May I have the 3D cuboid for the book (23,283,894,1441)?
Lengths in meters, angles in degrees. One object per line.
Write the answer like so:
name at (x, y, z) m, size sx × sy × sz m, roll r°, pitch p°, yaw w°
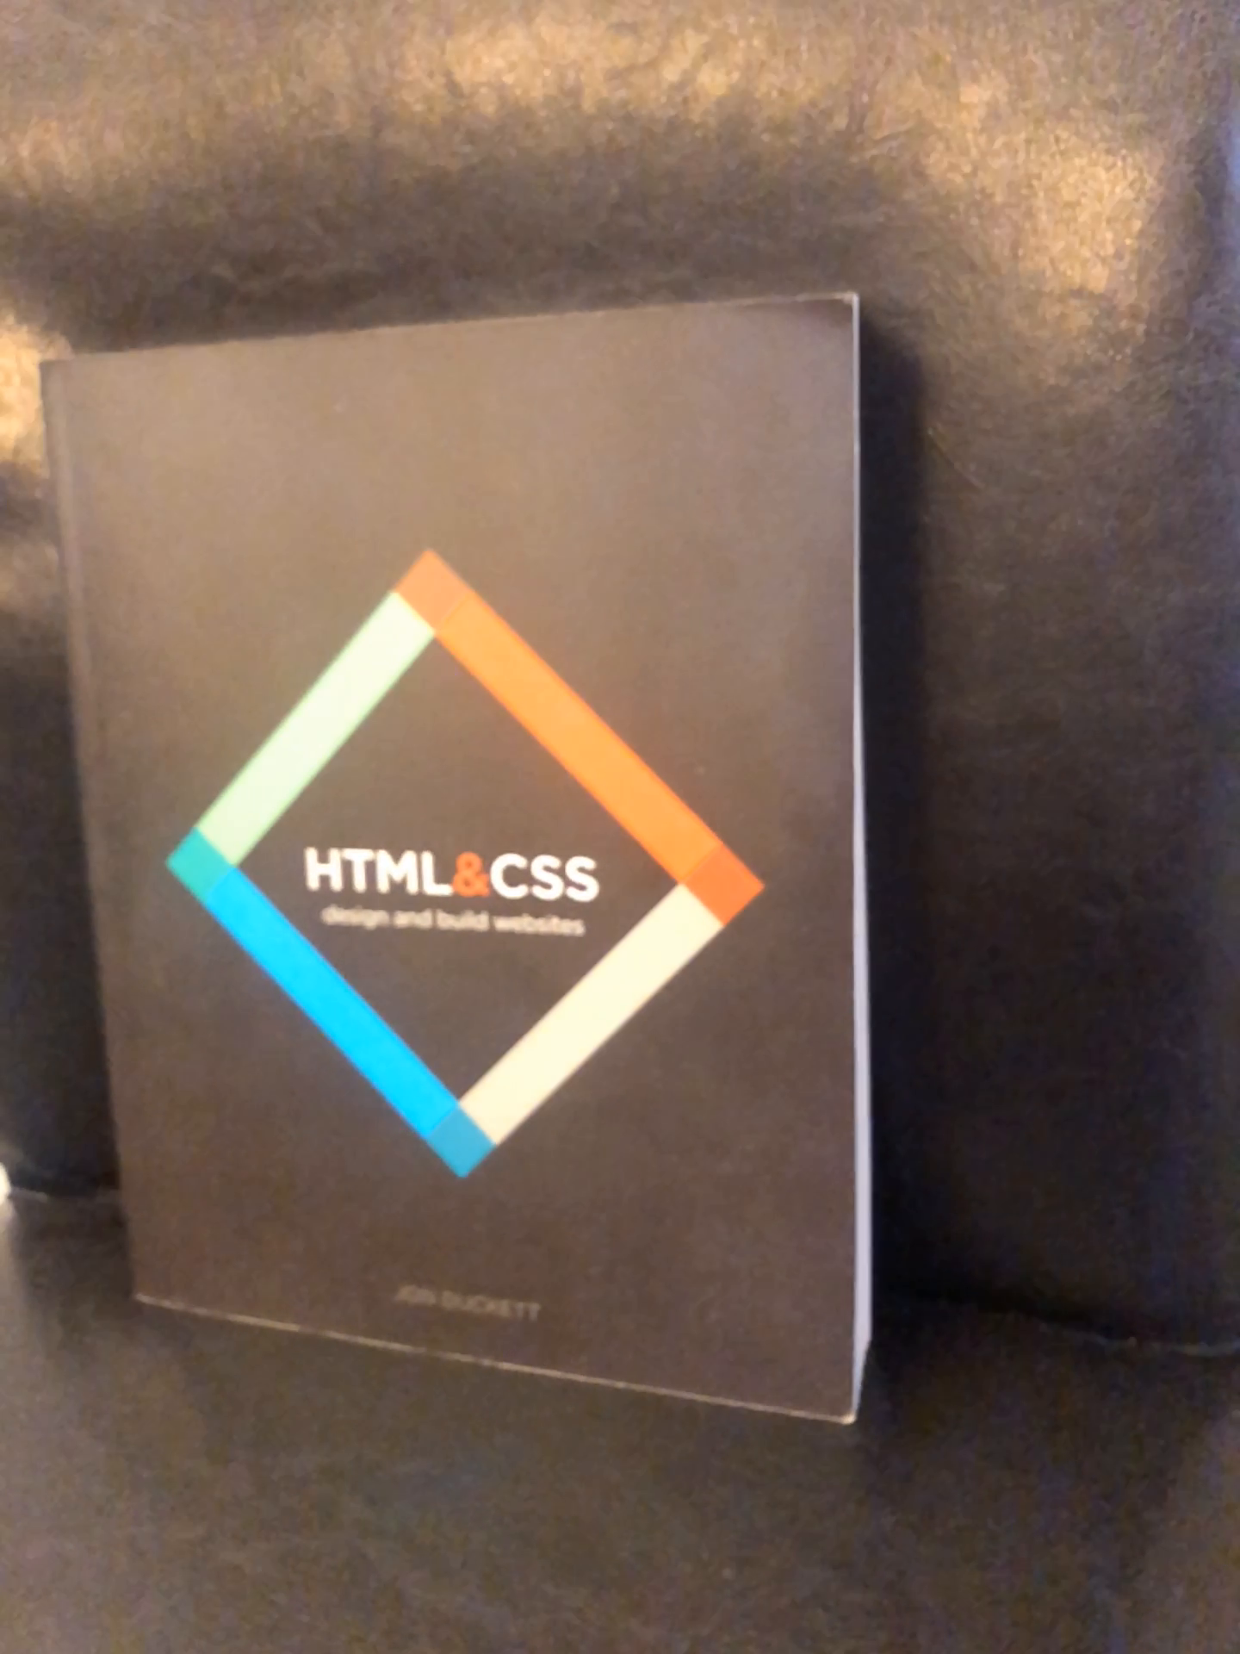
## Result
book at (-0.035, 0.010, 0.316) m, size 0.188 × 0.231 × 0.030 m, roll 1°, pitch 11°, yaw 18°
